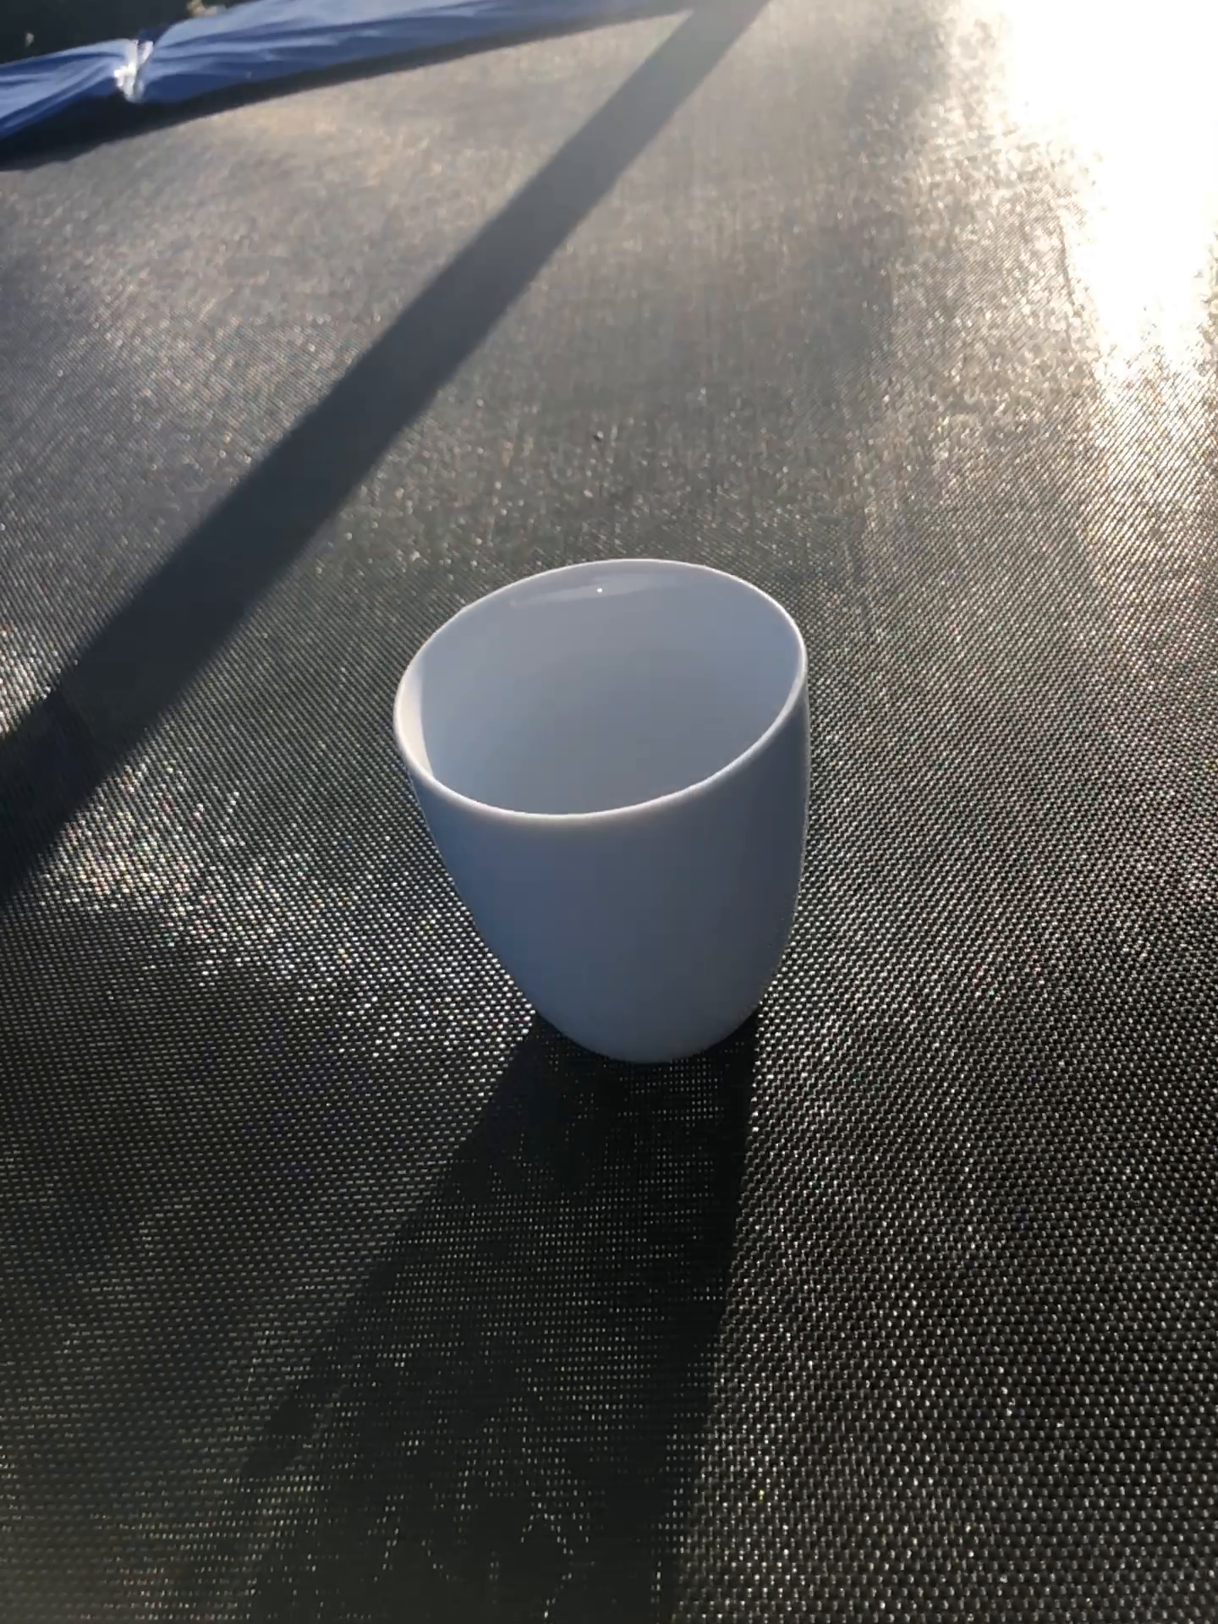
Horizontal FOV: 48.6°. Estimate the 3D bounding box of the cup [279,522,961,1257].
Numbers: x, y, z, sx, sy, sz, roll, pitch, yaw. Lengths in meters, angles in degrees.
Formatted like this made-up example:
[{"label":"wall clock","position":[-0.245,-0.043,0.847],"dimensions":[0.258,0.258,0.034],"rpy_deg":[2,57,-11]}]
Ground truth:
[{"label":"cup","position":[0.002,0.010,0.307],"dimensions":[0.100,0.089,0.110],"rpy_deg":[-25,41,-19]}]
